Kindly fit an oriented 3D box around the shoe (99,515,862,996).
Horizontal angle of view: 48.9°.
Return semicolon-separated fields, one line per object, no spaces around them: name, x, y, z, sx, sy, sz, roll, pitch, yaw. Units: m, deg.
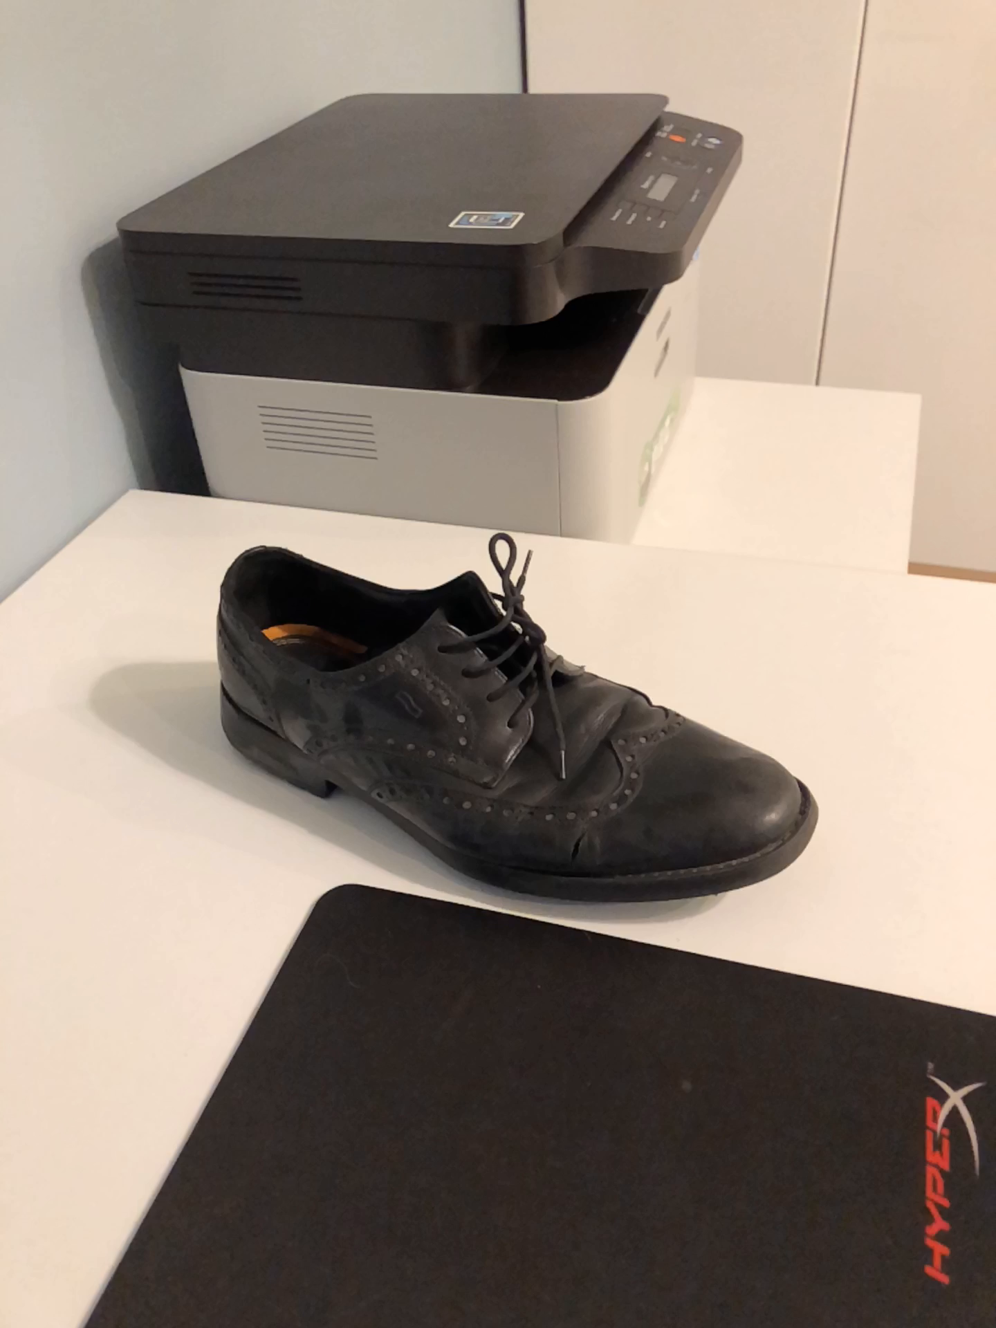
shoe;-0.012;0.025;0.499;0.313;0.079;0.120;15;41;23
